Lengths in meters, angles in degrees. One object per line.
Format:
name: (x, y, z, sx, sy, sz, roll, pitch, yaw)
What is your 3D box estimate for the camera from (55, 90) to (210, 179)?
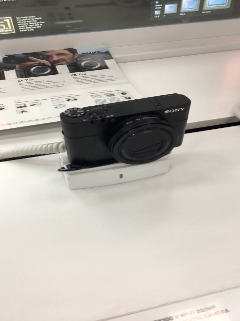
camera: (0.010, -0.024, 0.284, 0.118, 0.056, 0.037, -12, 50, -11)
